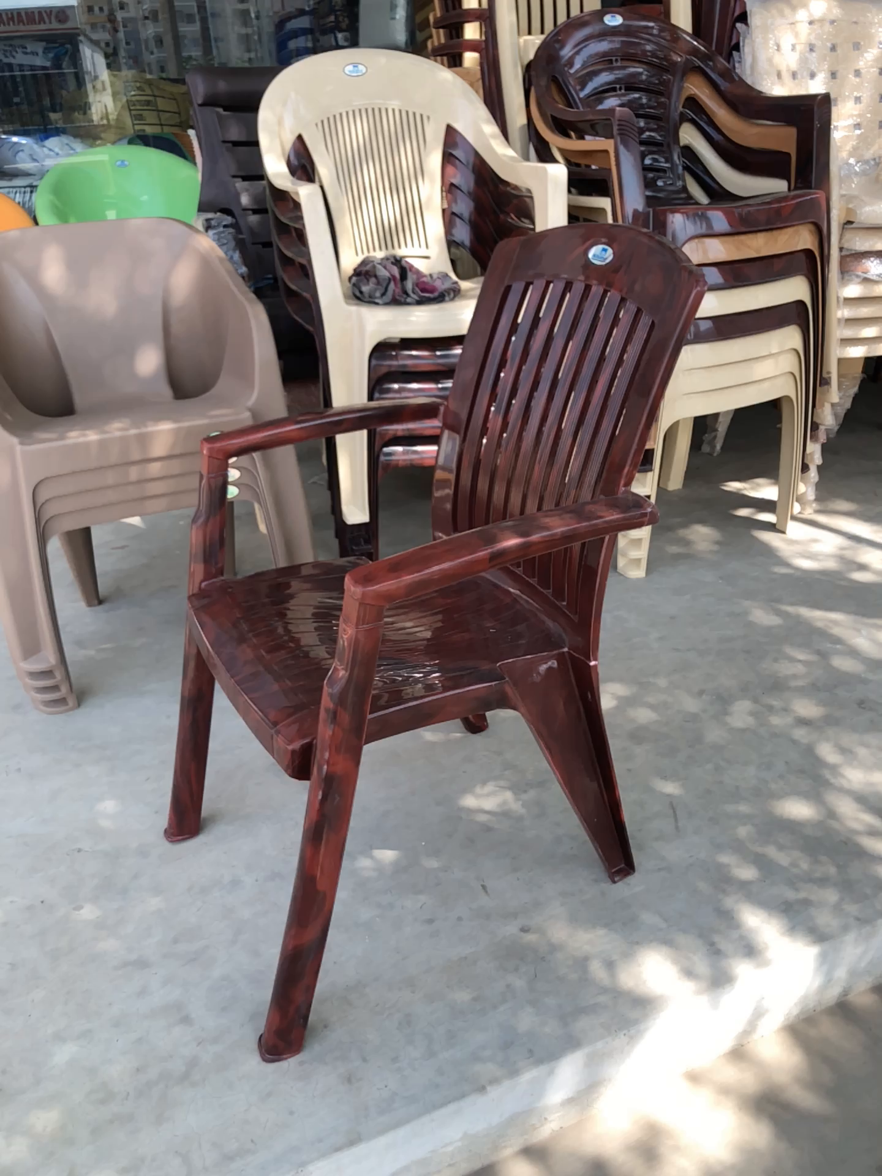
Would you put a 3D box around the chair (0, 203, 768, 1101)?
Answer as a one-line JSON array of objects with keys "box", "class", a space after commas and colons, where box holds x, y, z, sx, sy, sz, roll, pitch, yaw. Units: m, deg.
[{"box": [-0.085, -0.010, 1.289, 0.692, 0.856, 0.611, -16, 28, -25], "class": "chair"}]
